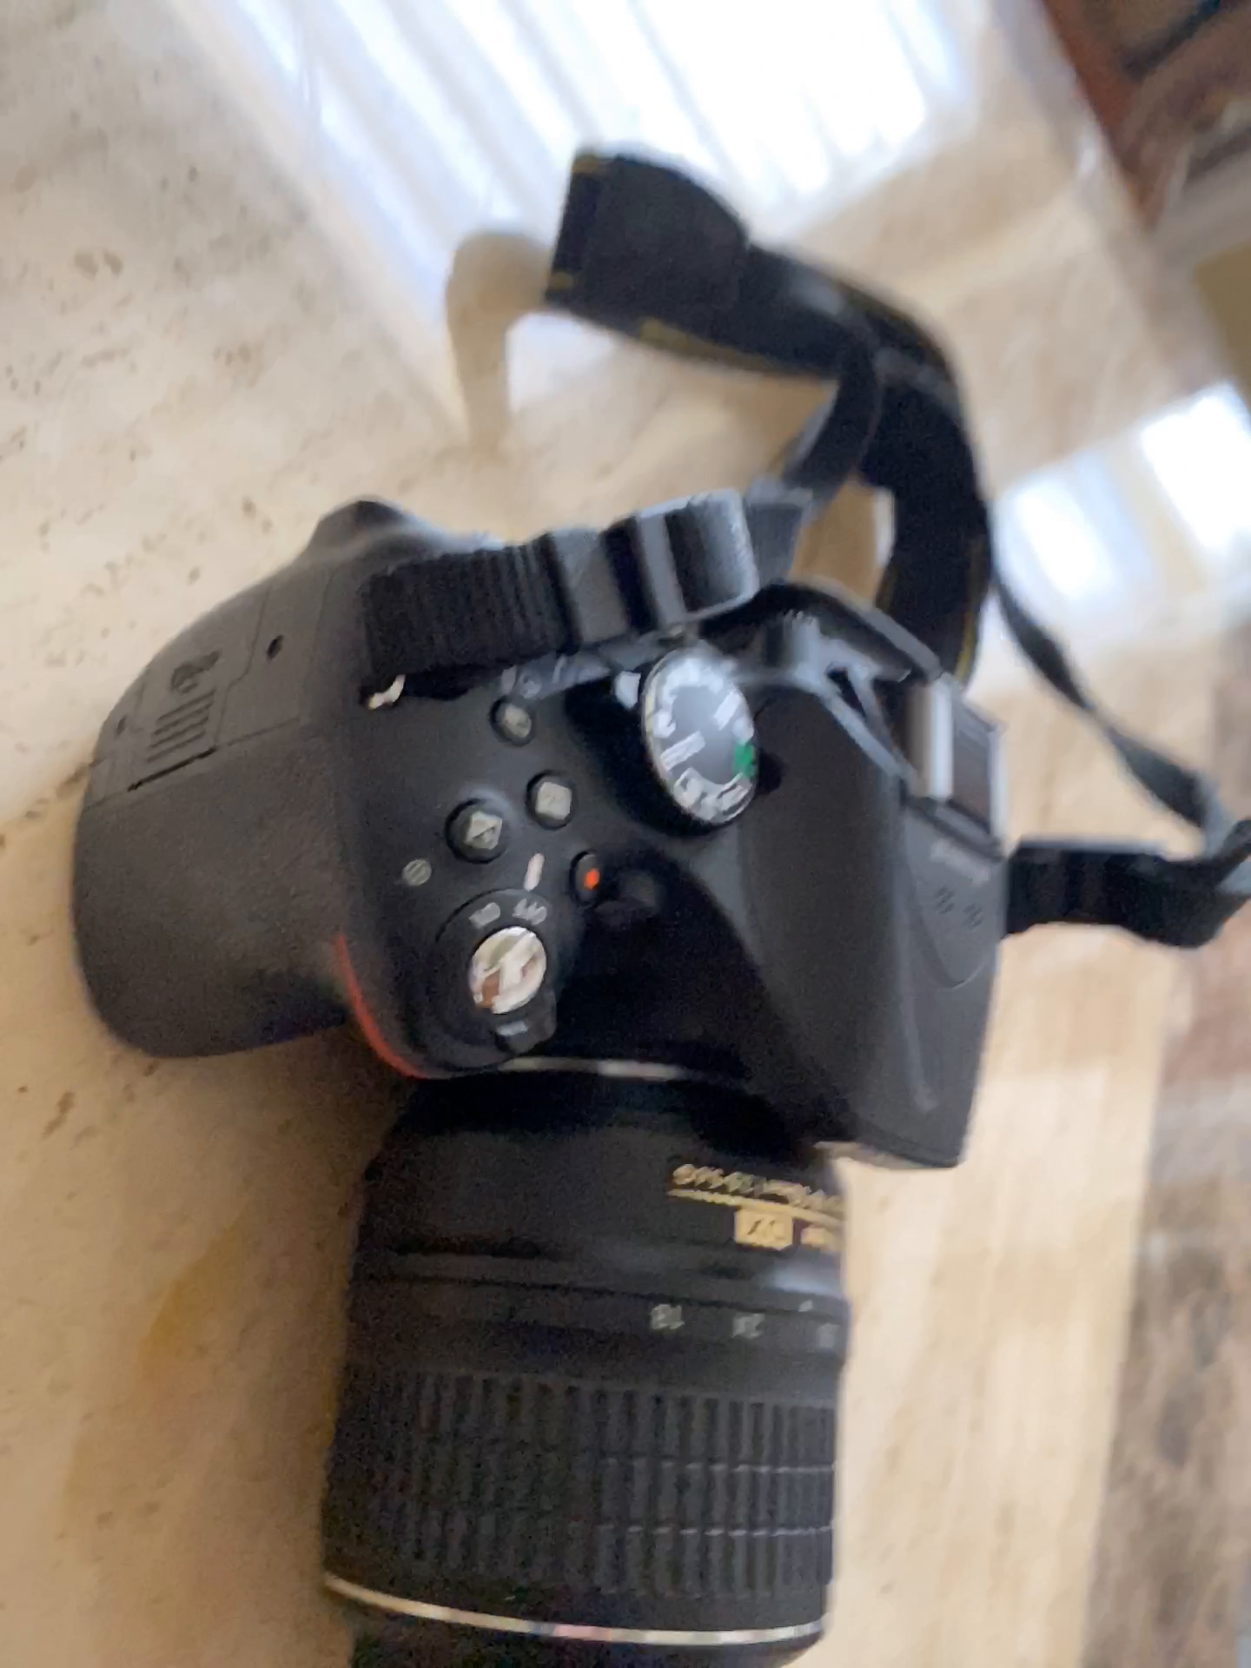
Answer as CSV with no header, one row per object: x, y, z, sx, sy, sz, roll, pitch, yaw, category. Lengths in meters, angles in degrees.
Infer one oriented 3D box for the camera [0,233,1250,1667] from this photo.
0.007,0.046,0.188,0.152,0.099,0.159,26,57,-41,camera
